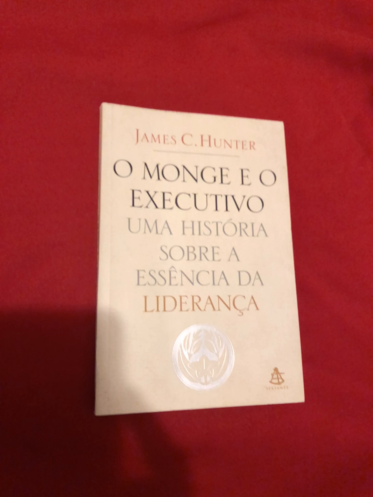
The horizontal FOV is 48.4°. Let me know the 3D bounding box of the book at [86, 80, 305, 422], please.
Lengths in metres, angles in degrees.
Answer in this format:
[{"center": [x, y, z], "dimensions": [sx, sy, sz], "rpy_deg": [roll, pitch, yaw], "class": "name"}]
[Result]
[{"center": [0.005, -0.003, 0.294], "dimensions": [0.140, 0.030, 0.220], "rpy_deg": [2, 77, -15], "class": "book"}]
